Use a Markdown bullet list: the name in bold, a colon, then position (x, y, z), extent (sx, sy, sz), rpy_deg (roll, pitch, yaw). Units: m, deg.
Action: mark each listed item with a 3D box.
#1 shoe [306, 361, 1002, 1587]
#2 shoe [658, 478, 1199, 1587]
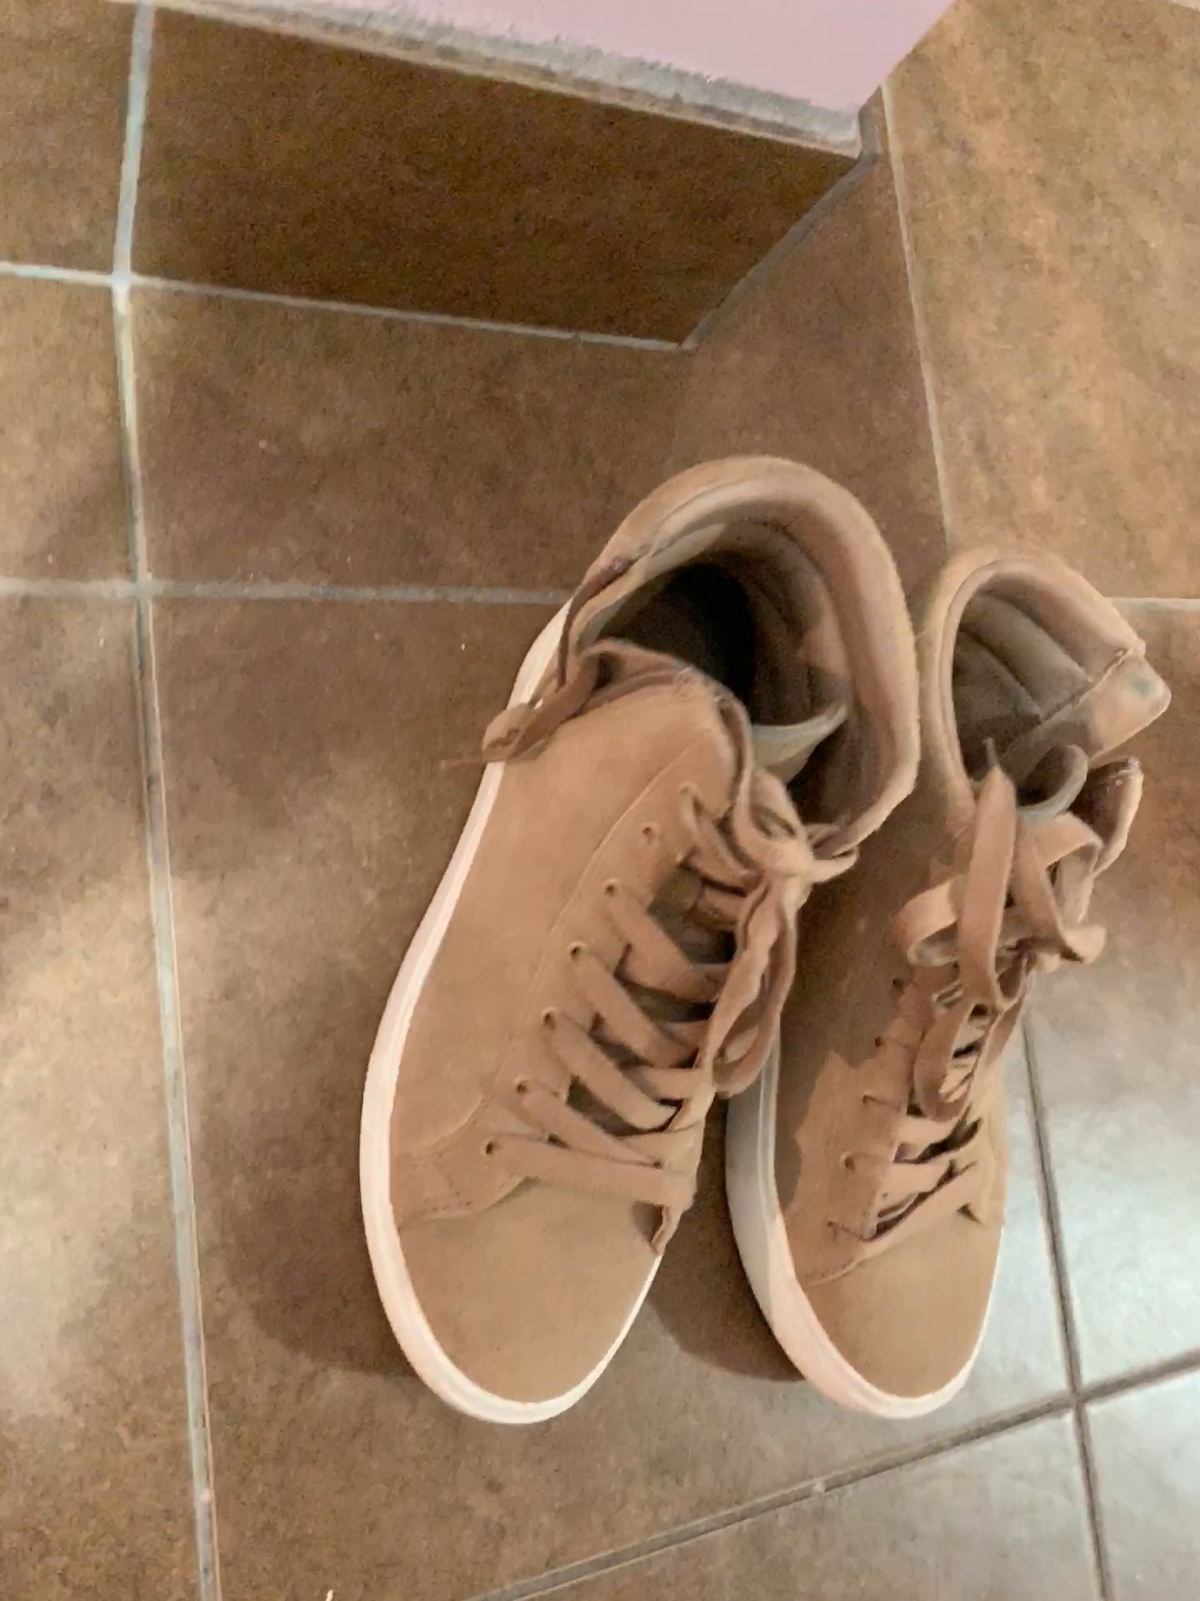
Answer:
- **shoe**: position (0.013, 0.042, 0.325), extent (0.106, 0.117, 0.254), rpy_deg (15, 76, -21)
- **shoe**: position (0.096, 0.060, 0.381), extent (0.113, 0.119, 0.270), rpy_deg (4, 80, -23)
